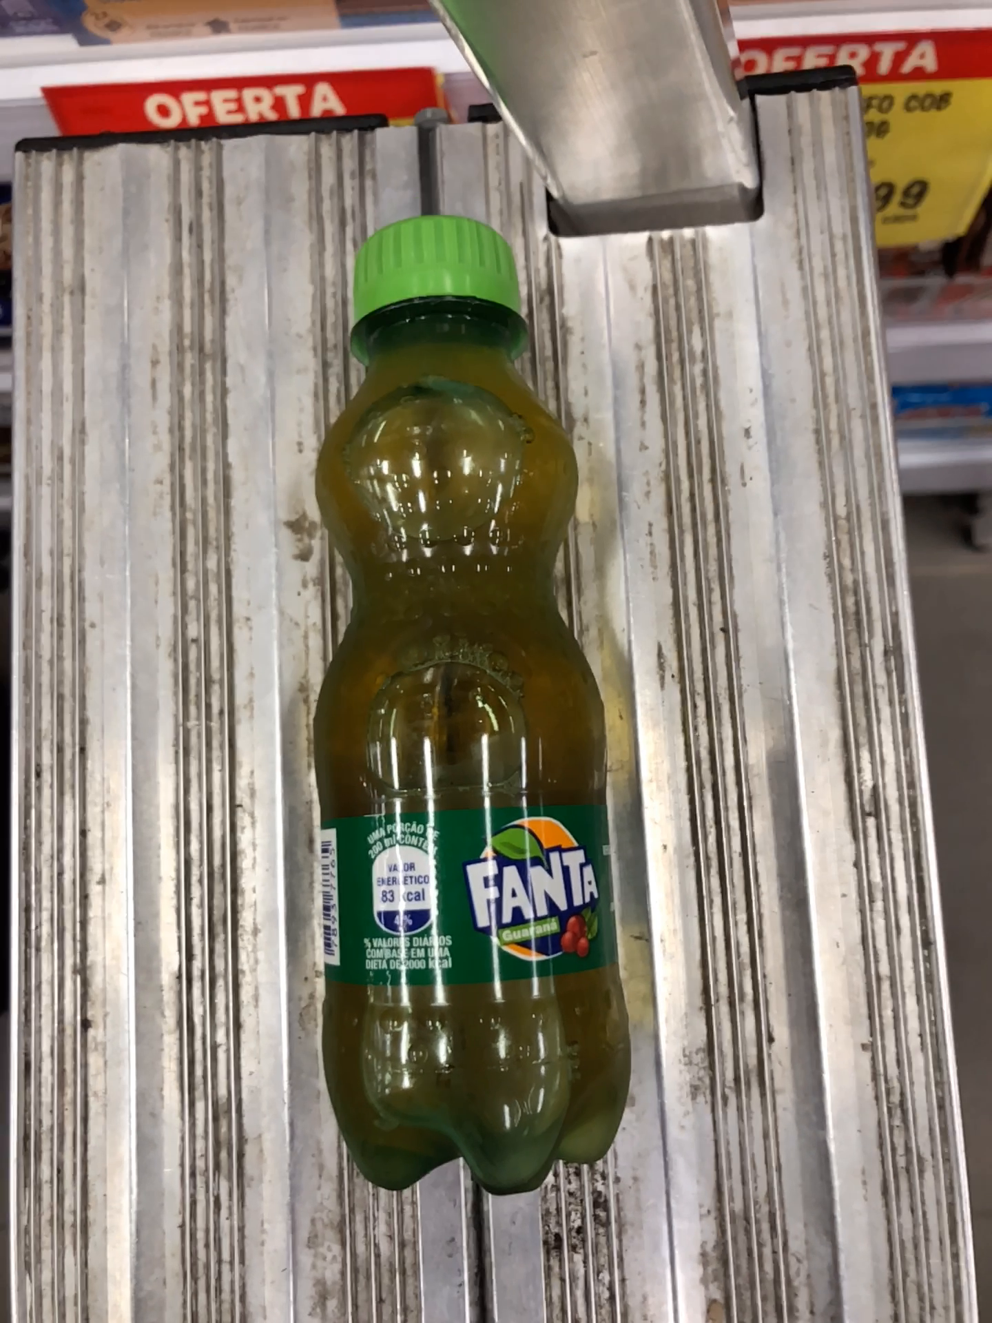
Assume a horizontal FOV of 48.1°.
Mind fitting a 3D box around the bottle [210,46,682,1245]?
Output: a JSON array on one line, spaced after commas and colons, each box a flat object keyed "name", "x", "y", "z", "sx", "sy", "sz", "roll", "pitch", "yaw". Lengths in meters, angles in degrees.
[{"name": "bottle", "x": -0.012, "y": -0.004, "z": 0.189, "sx": 0.050, "sy": 0.050, "sz": 0.170, "roll": -15, "pitch": 75, "yaw": 47}]
